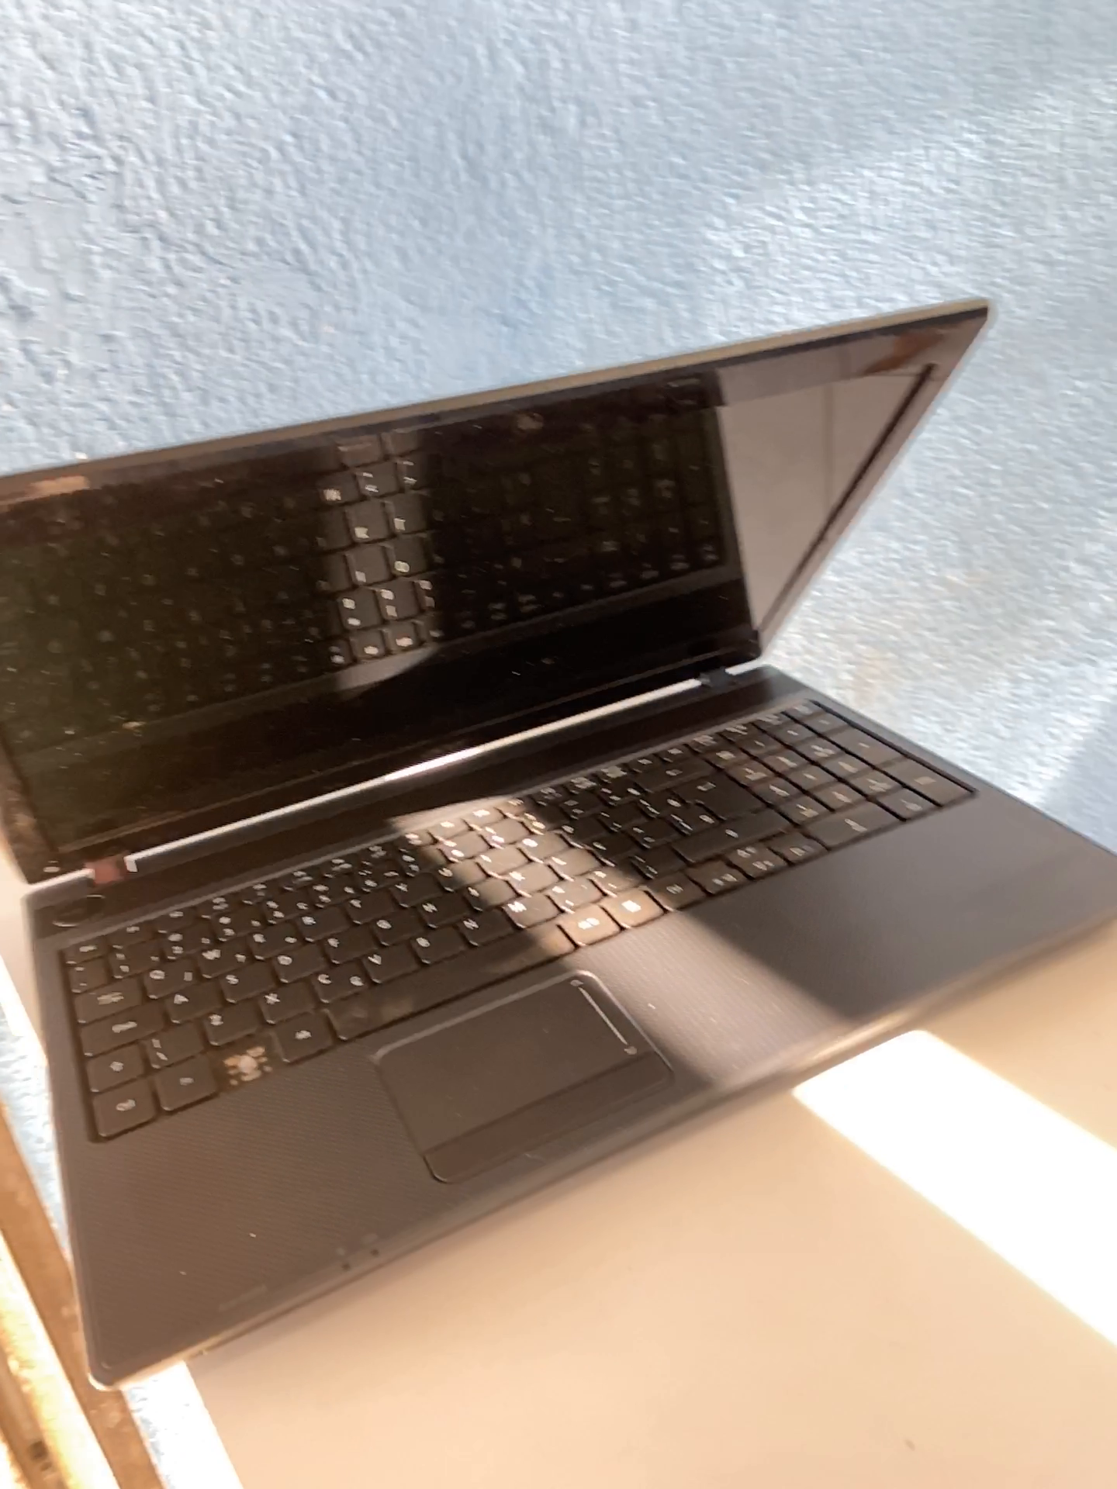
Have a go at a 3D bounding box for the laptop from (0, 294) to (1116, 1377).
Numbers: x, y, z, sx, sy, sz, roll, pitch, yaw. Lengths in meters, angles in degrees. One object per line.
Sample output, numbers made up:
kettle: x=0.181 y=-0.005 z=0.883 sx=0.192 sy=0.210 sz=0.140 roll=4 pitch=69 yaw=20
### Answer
laptop: x=-0.010 y=-0.027 z=0.413 sx=0.376 sy=0.191 sz=0.248 roll=-18 pitch=29 yaw=-21
